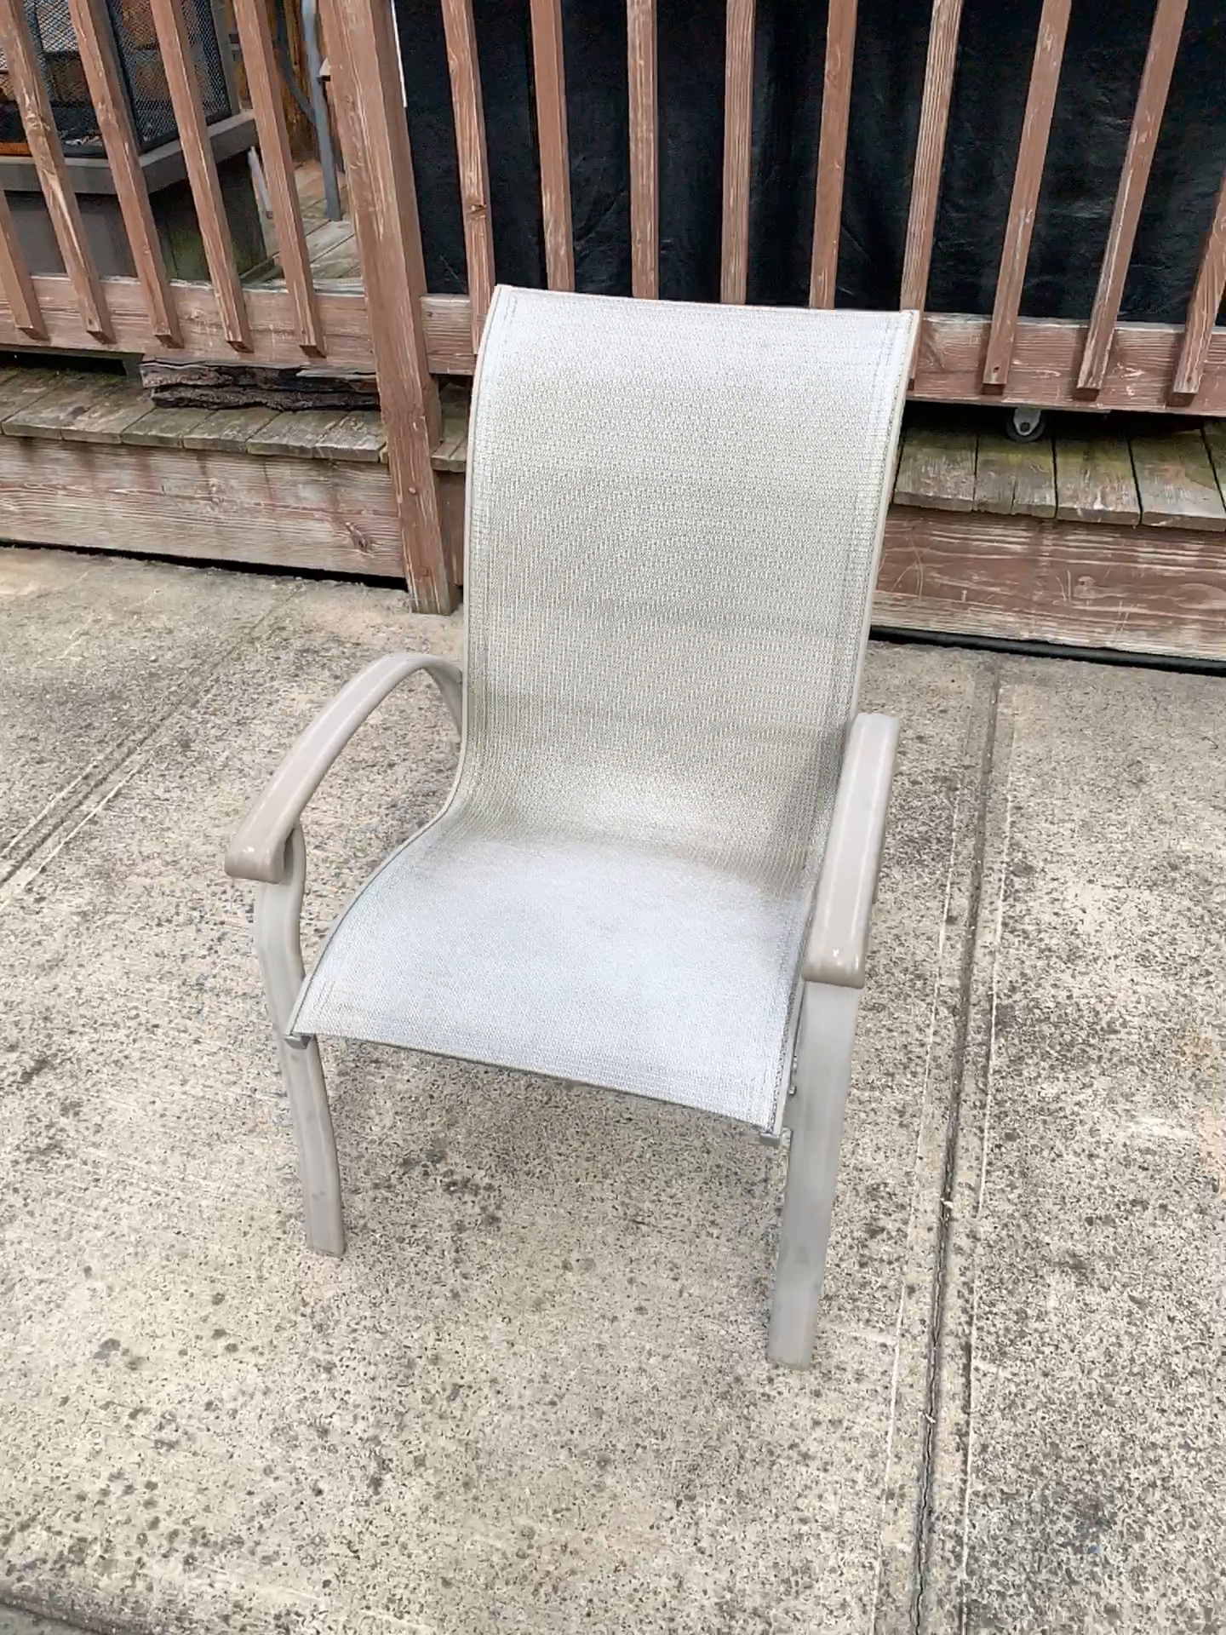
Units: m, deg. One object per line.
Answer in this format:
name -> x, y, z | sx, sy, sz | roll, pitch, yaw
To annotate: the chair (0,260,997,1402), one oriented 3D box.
chair -> -0.002, -0.036, 1.358 | 0.651, 0.845, 0.794 | 9, 39, 13
